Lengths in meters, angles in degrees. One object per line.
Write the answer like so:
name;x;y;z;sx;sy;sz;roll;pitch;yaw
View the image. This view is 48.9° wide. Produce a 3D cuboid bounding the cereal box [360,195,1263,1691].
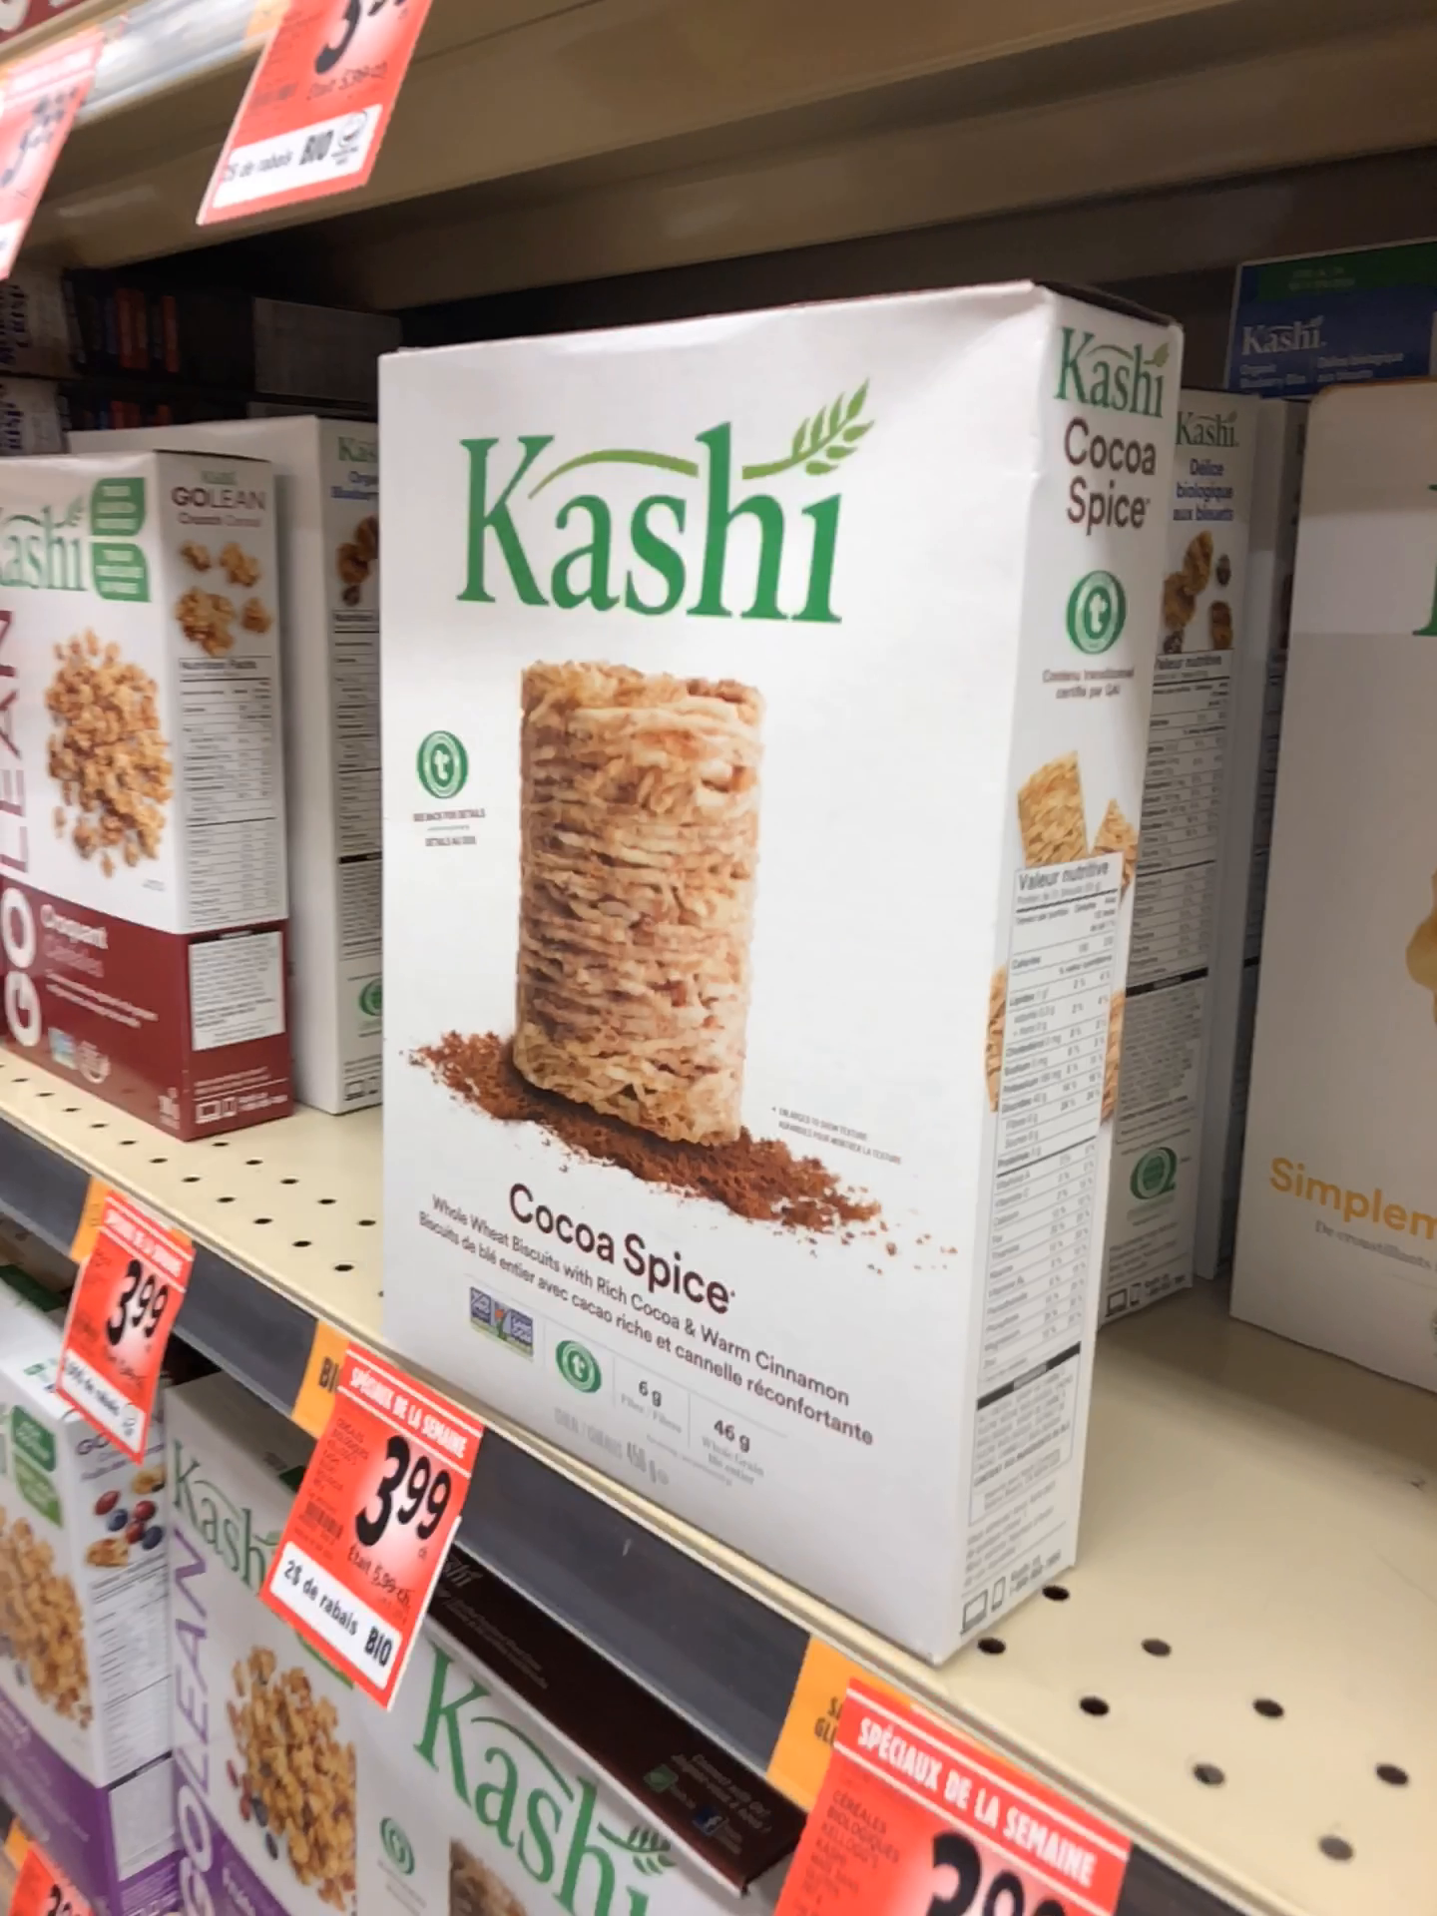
cereal box;0.002;-0.012;0.379;0.211;0.279;0.060;13;17;42
